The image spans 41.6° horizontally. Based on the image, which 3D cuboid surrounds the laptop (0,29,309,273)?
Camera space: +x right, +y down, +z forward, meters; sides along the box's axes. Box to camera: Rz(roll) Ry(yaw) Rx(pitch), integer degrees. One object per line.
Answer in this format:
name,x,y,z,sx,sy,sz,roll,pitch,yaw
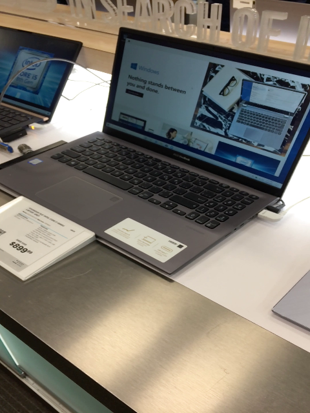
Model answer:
laptop,-0.025,-0.090,0.497,0.295,0.153,0.235,29,49,30
